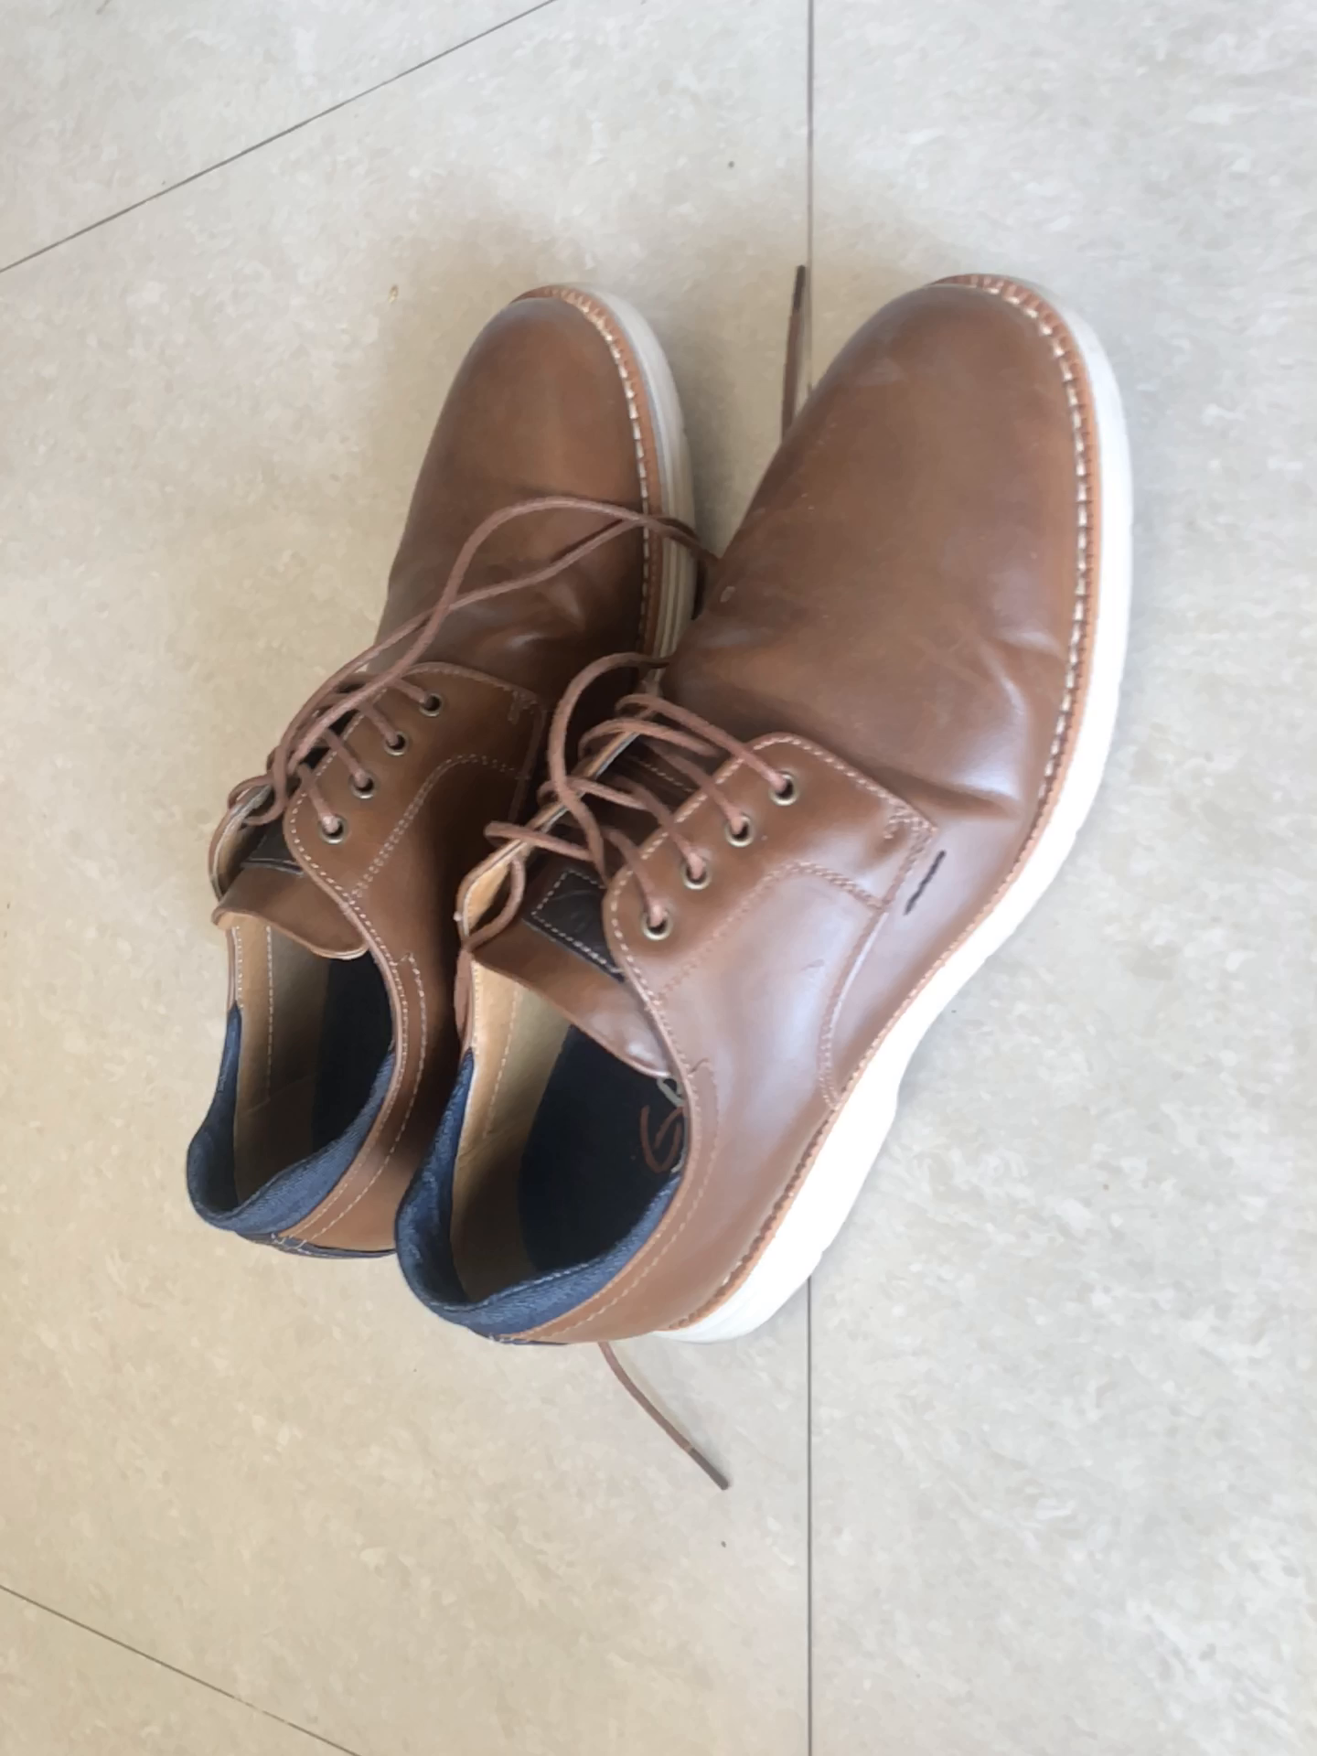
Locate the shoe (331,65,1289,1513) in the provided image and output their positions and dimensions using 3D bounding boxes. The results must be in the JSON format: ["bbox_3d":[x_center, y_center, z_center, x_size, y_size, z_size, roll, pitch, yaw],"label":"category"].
[{"bbox_3d":[0.033,-0.017,0.365,0.100,0.100,0.310,28,103,34],"label":"shoe"}]

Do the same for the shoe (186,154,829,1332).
[{"bbox_3d":[-0.047,-0.038,0.446,0.100,0.100,0.310,14,95,36],"label":"shoe"}]
